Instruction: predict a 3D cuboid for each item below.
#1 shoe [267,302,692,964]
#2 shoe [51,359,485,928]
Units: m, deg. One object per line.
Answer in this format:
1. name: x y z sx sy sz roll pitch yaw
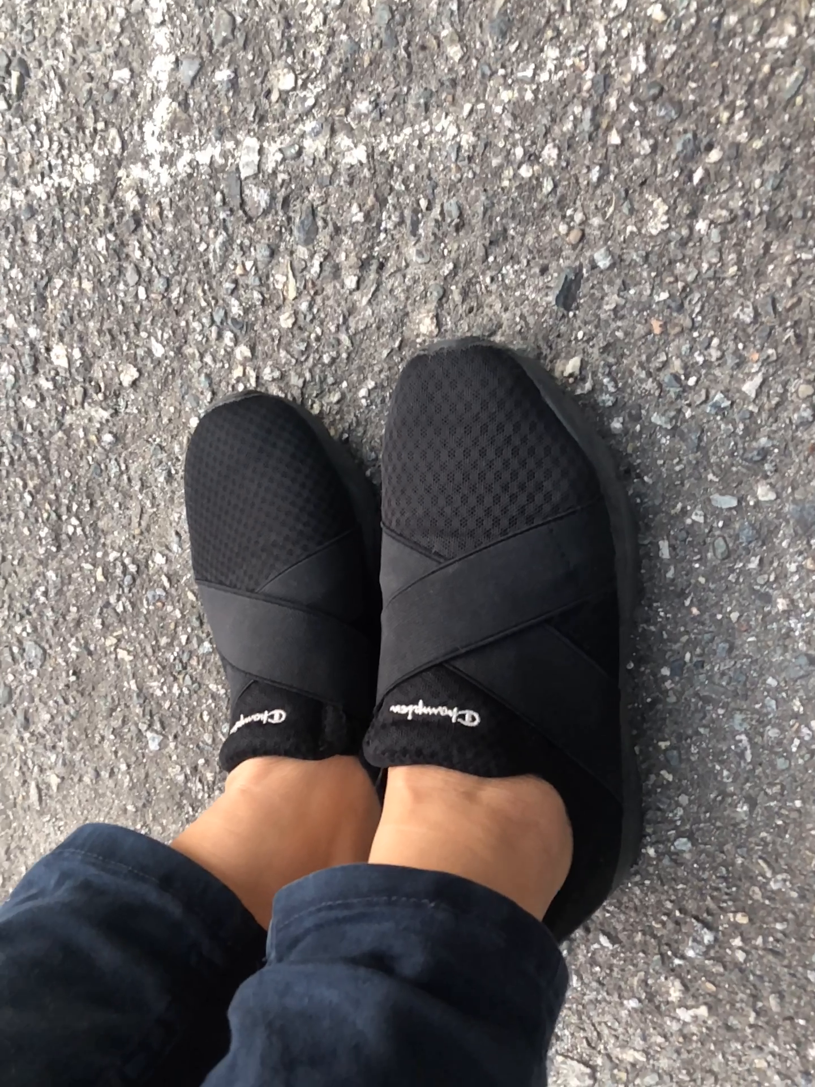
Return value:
1. shoe: 0.035 0.031 0.340 0.100 0.080 0.220 -7 101 26
2. shoe: -0.055 0.045 0.387 0.100 0.070 0.220 -14 98 27
